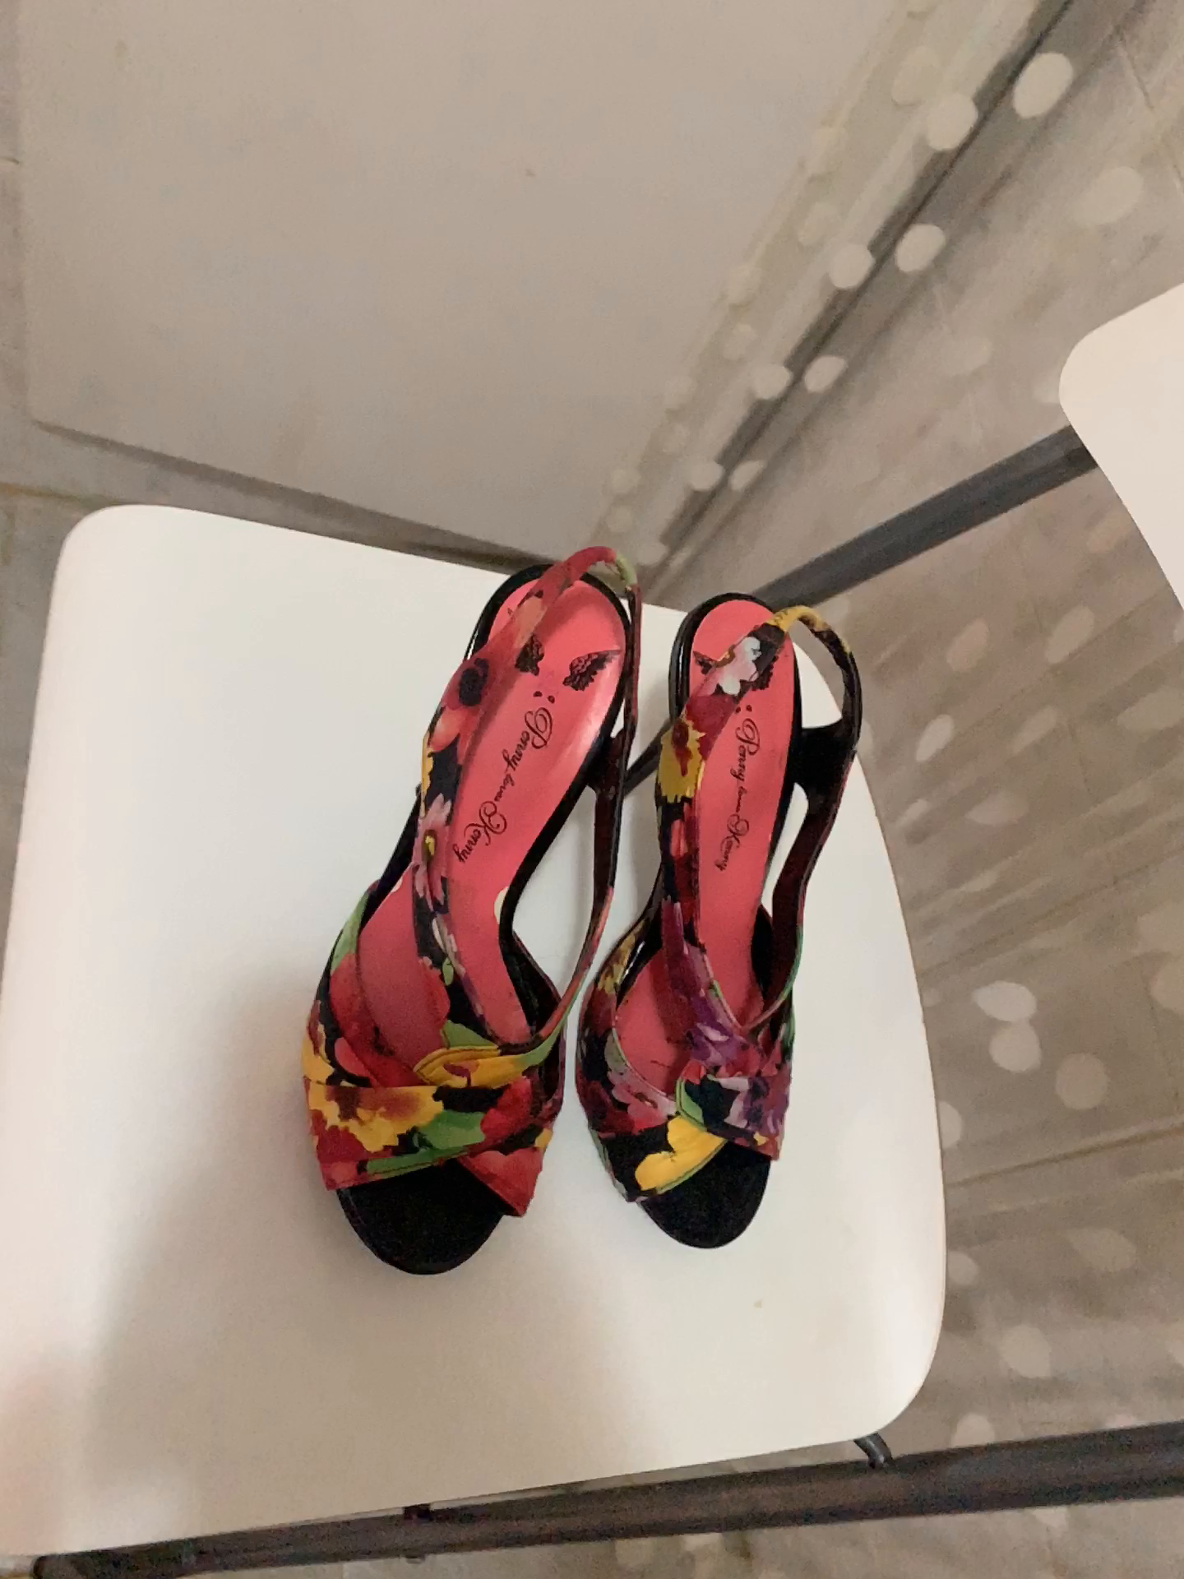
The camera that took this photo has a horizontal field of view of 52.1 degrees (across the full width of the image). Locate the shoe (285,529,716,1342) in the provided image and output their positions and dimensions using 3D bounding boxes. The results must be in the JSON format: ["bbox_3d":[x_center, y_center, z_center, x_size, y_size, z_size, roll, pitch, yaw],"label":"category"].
[{"bbox_3d":[-0.026,0.042,0.355,0.082,0.074,0.205,11,76,-18],"label":"shoe"}]

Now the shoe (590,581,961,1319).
[{"bbox_3d":[0.053,0.049,0.393,0.080,0.086,0.205,4,79,-22],"label":"shoe"}]
